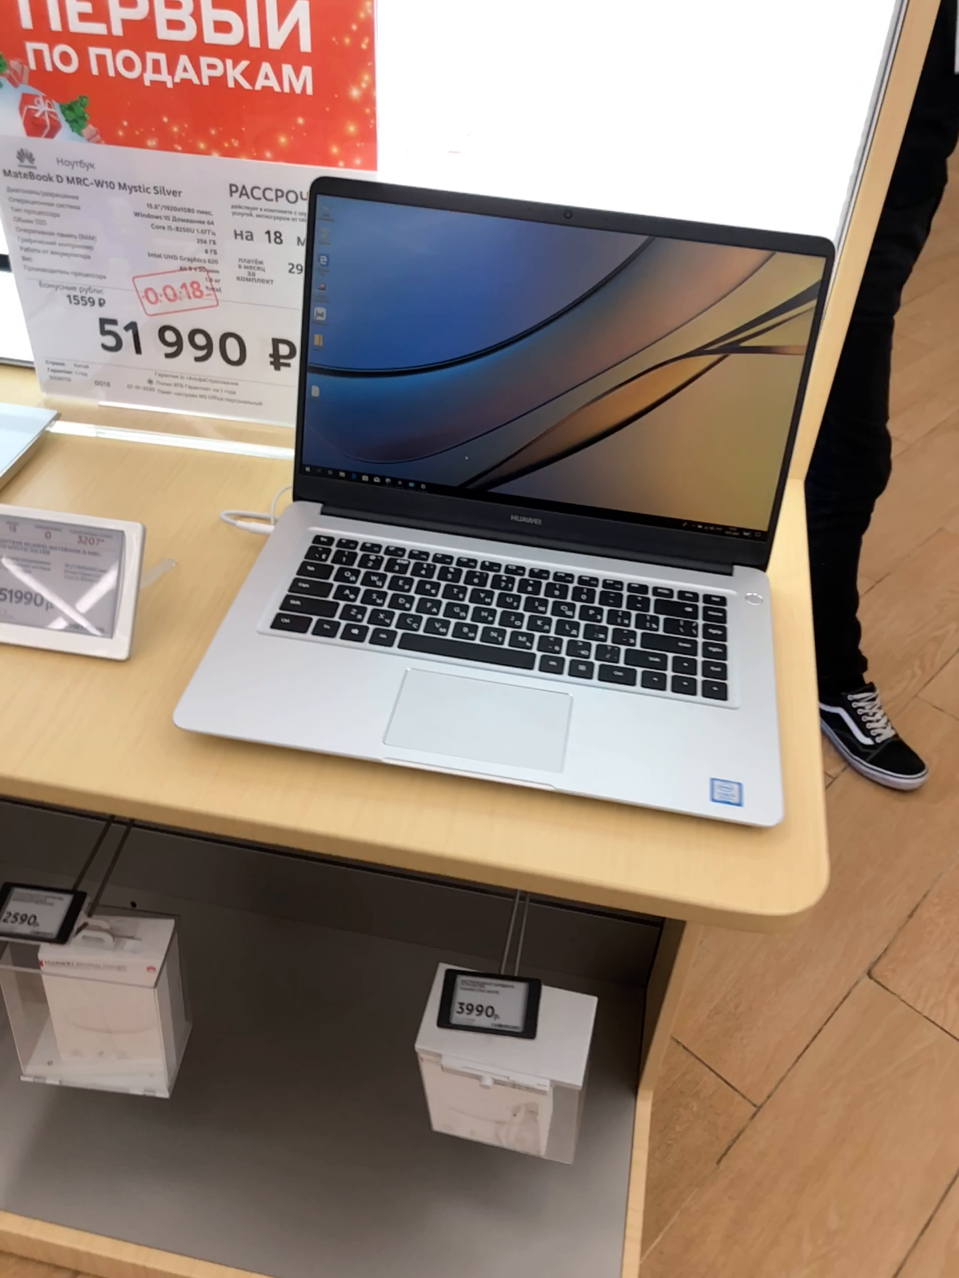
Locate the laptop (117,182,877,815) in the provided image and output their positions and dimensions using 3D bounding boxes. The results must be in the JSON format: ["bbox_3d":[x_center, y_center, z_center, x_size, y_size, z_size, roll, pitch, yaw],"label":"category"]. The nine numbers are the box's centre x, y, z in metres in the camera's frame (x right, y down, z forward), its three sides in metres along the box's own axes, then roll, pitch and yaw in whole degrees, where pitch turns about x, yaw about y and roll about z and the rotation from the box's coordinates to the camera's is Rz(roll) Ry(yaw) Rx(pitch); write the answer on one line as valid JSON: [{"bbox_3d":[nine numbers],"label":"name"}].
[{"bbox_3d":[0.024,-0.105,0.645,0.340,0.204,0.307,9,41,4],"label":"laptop"}]
